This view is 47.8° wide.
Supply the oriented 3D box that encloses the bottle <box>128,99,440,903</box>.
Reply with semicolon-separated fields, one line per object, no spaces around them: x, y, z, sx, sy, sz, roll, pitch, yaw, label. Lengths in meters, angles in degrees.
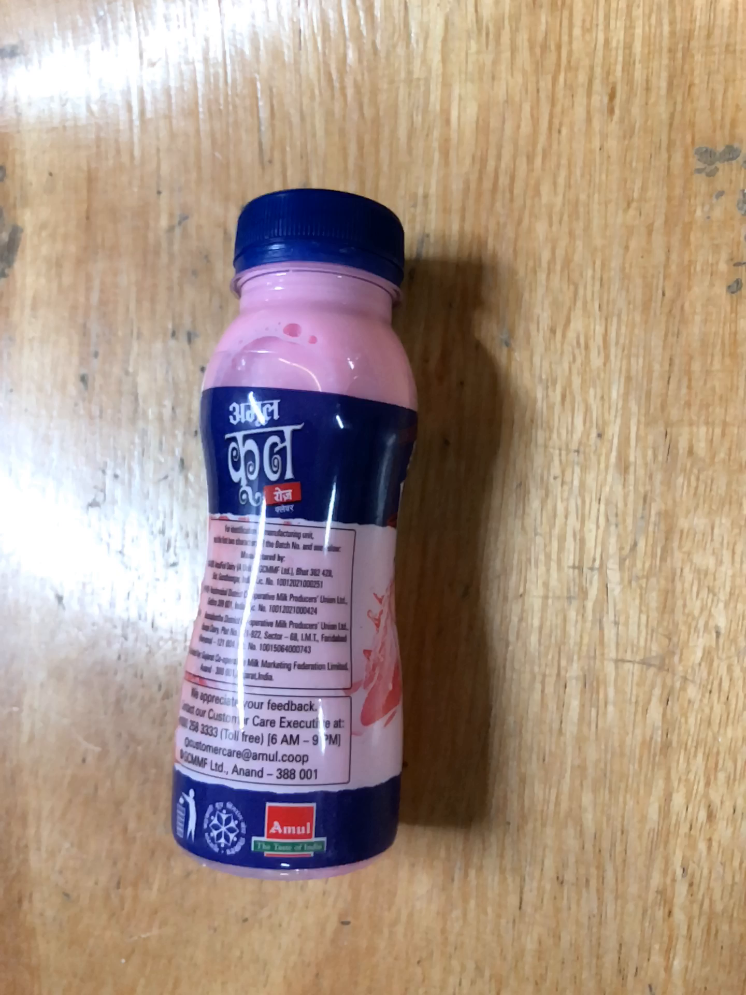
-0.017;0.000;0.184;0.050;0.040;0.150;1;88;18;bottle
